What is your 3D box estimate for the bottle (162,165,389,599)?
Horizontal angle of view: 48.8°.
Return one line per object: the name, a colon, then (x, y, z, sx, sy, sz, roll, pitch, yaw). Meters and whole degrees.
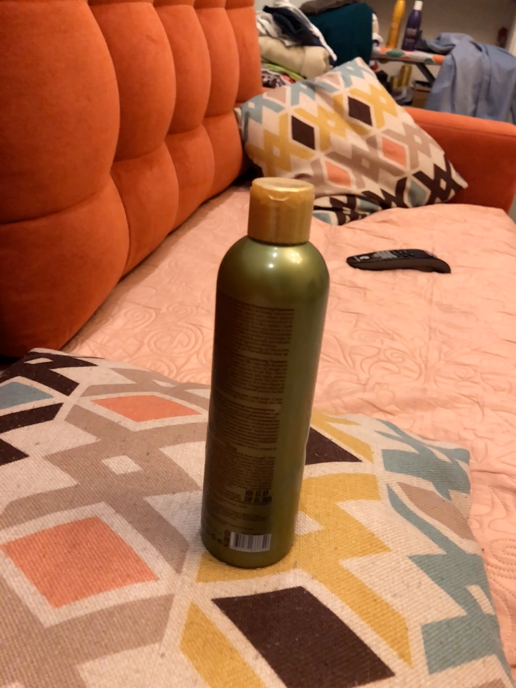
bottle: (0.003, 0.017, 0.265, 0.060, 0.179, 0.070, 22, 30, 30)
